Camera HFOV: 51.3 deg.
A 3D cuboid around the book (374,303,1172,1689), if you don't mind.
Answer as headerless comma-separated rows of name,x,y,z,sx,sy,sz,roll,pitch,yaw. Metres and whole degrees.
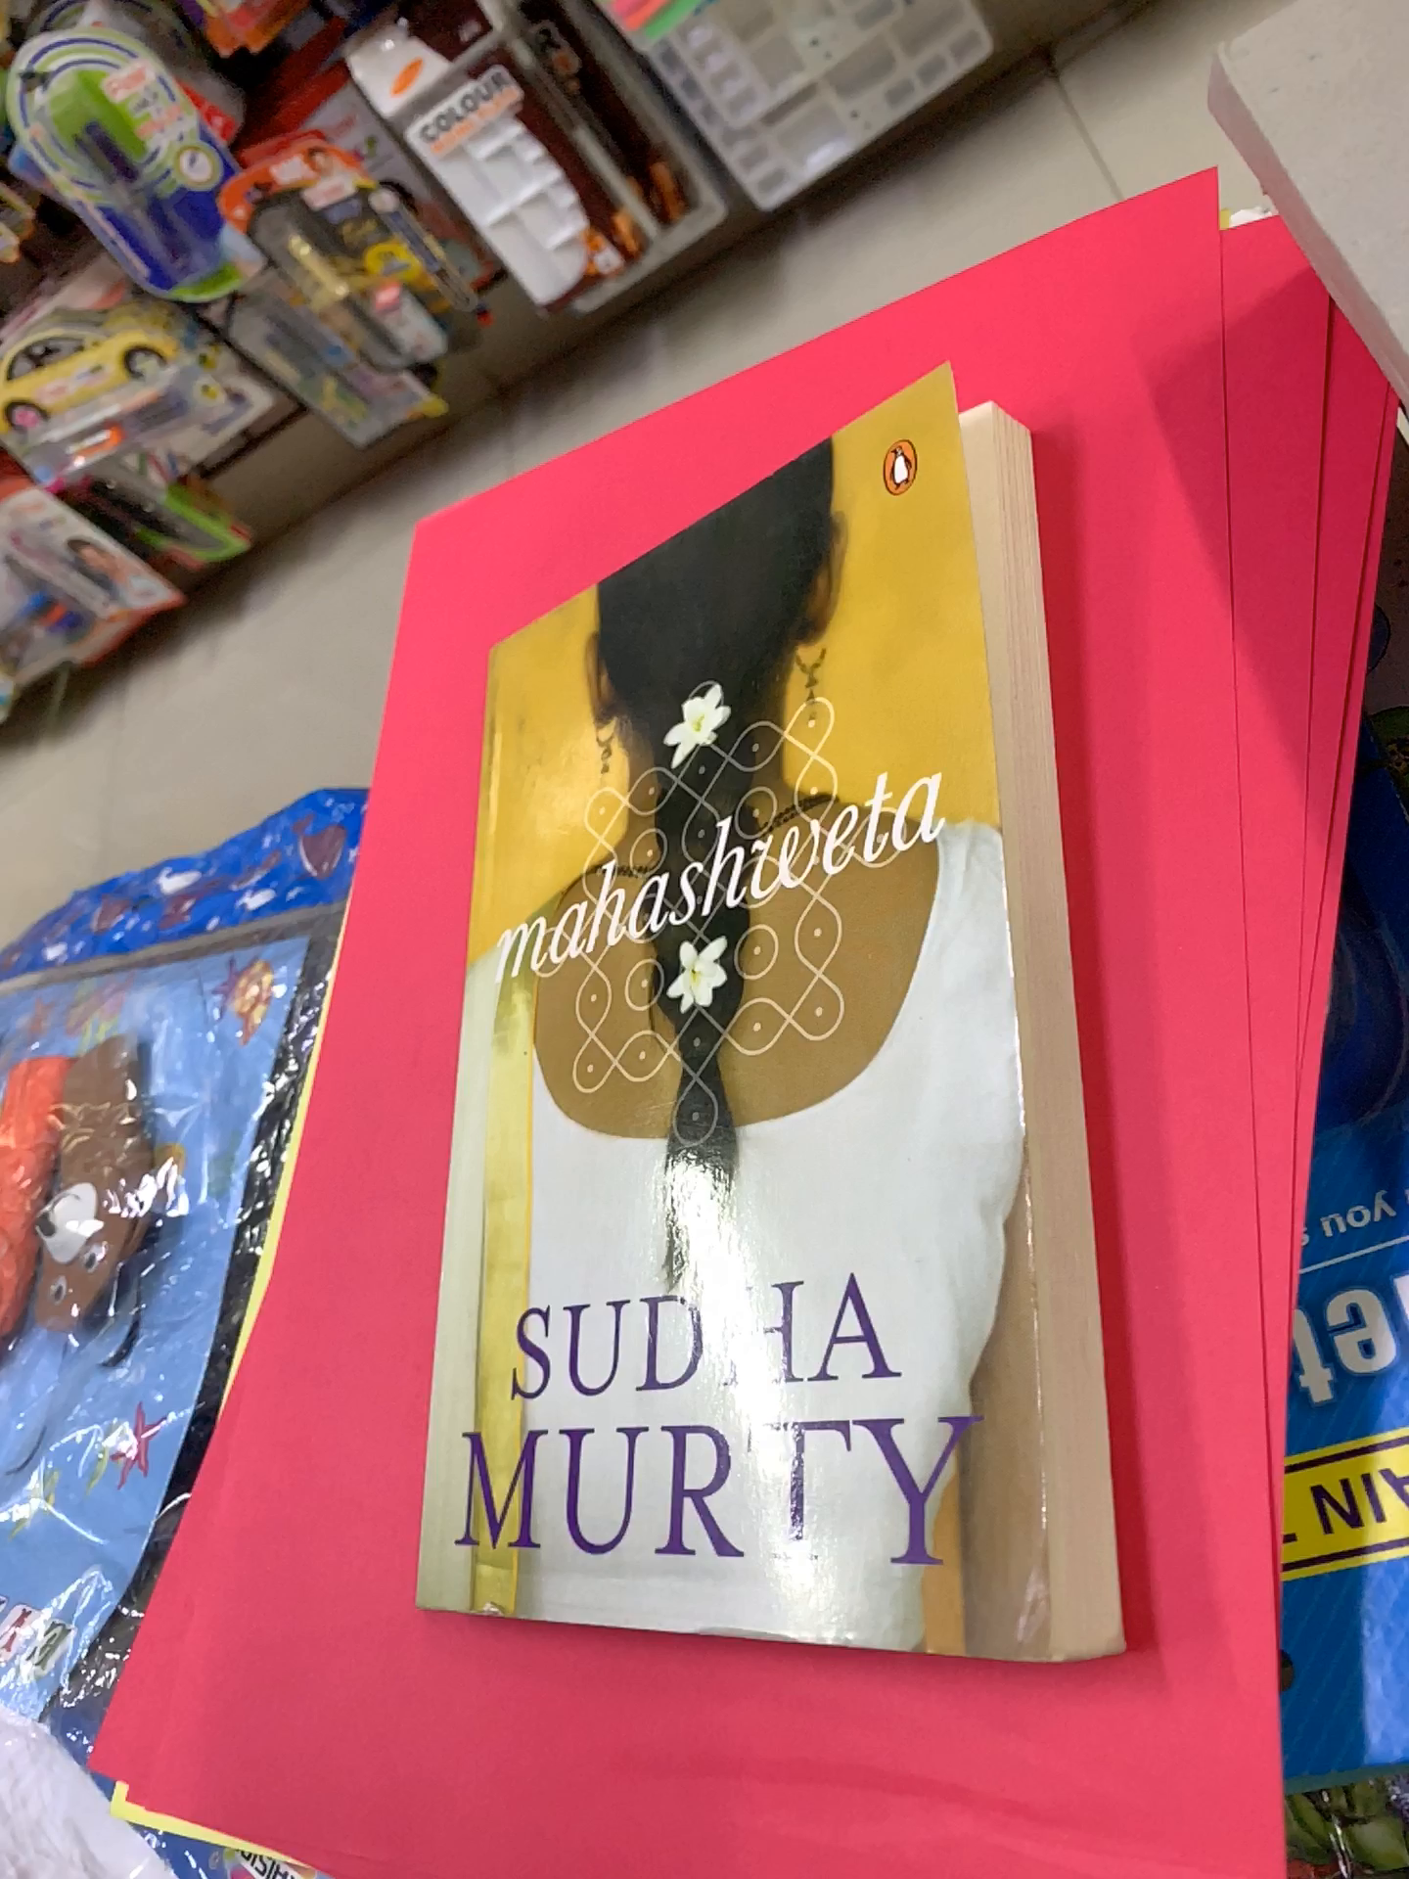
book,0.001,0.010,0.253,0.140,0.020,0.201,-19,61,41
